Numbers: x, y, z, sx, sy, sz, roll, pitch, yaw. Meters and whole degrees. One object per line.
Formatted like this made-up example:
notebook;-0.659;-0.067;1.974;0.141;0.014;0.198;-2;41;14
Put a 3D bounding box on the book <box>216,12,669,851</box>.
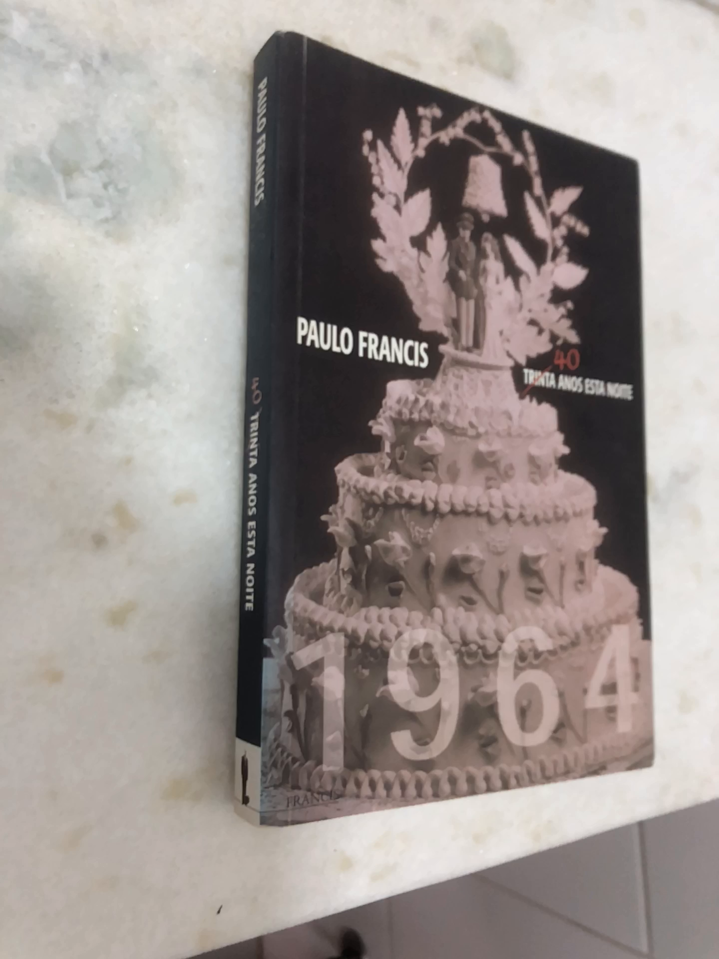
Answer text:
book;0.032;-0.012;0.237;0.141;0.020;0.203;4;83;-29
